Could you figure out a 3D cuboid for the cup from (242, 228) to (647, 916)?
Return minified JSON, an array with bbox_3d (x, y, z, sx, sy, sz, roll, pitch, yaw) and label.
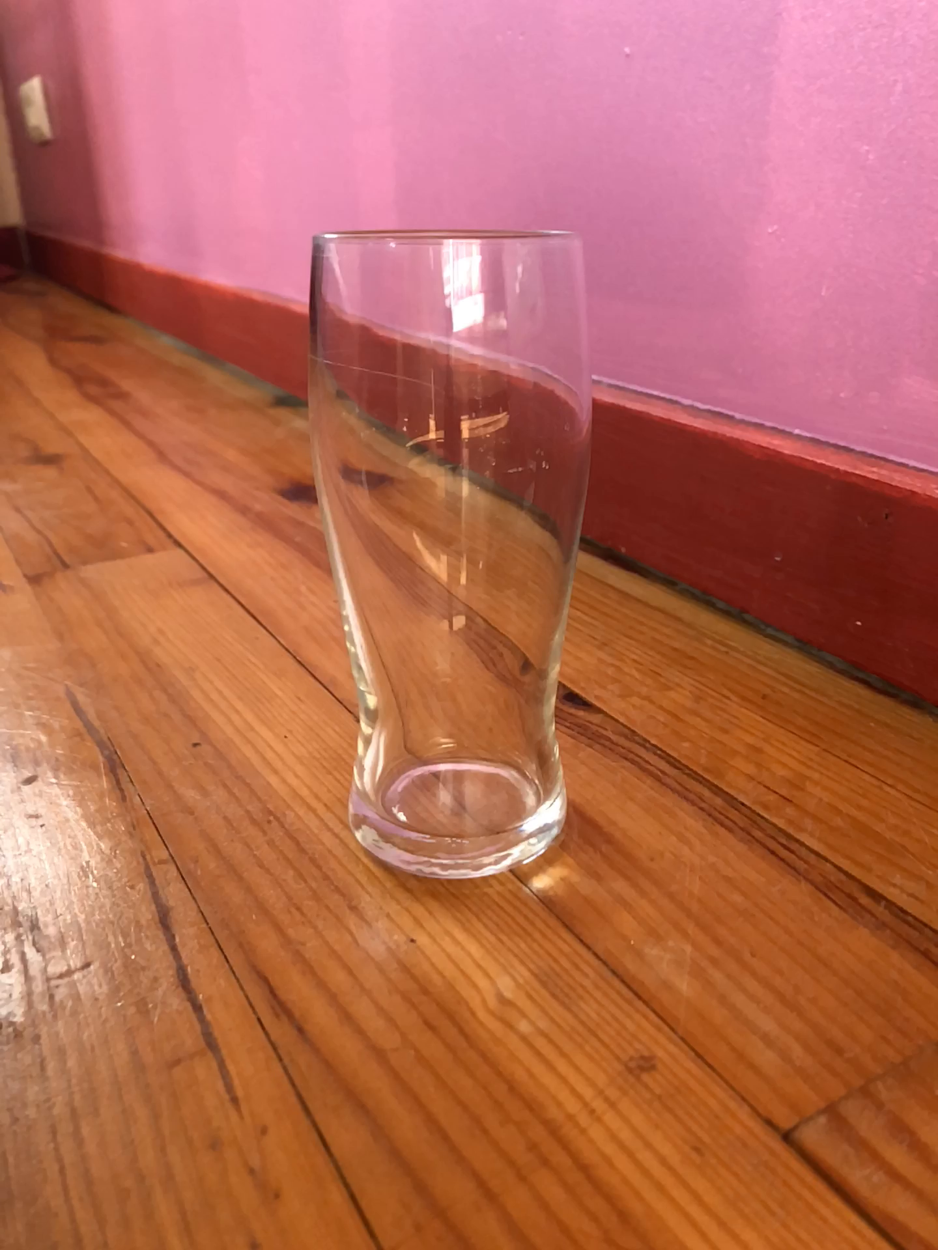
[{"bbox_3d":[-0.004,-0.018,0.250,0.061,0.143,0.063,-1,21,0],"label":"cup"}]
